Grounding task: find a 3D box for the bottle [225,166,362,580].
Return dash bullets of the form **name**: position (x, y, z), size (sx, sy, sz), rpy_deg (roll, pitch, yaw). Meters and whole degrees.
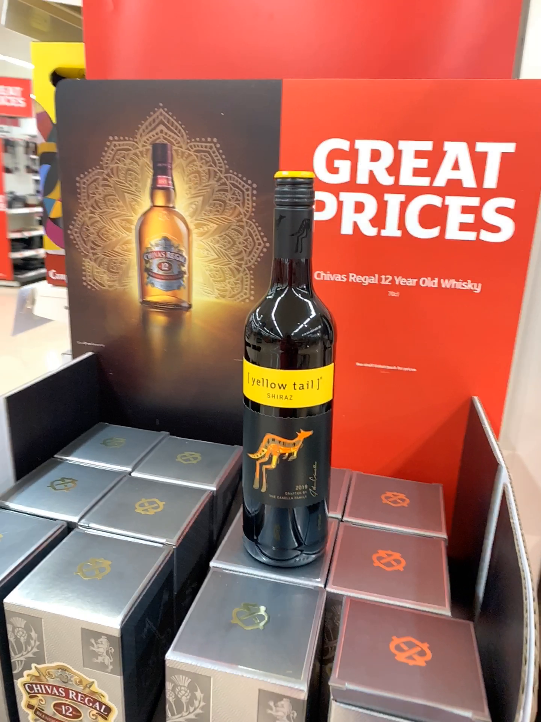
- **bottle**: position (0.016, 0.010, 0.438), size (0.077, 0.305, 0.081), rpy_deg (2, 17, -1)
